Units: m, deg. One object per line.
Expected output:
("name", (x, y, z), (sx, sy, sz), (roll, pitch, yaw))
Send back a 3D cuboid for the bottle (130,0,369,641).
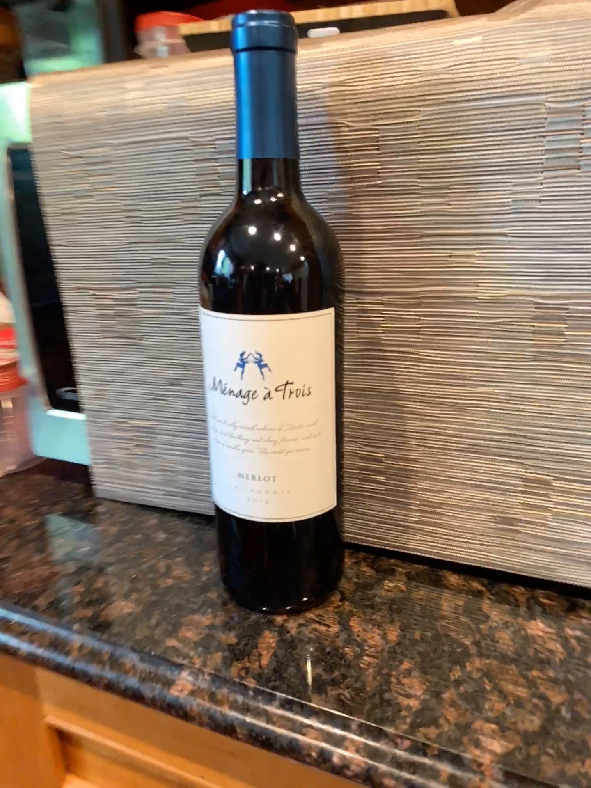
("bottle", (-0.013, -0.034, 0.321), (0.080, 0.309, 0.080), (-1, 18, 0))
